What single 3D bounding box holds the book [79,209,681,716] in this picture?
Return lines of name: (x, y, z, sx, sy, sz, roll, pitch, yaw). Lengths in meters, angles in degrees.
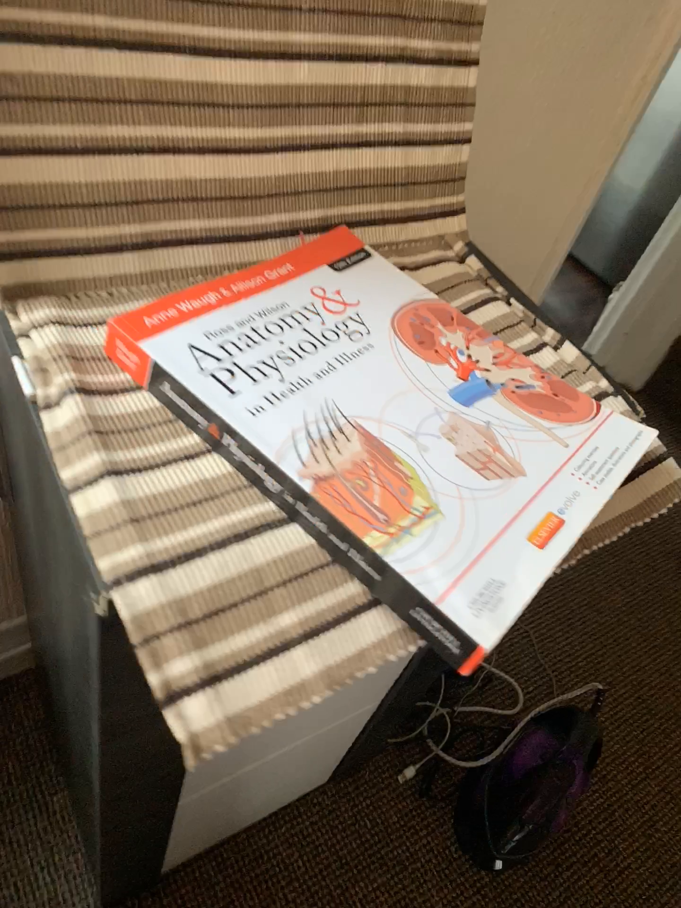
book: (0.033, -0.034, 0.420, 0.281, 0.040, 0.242, 39, 48, 18)
